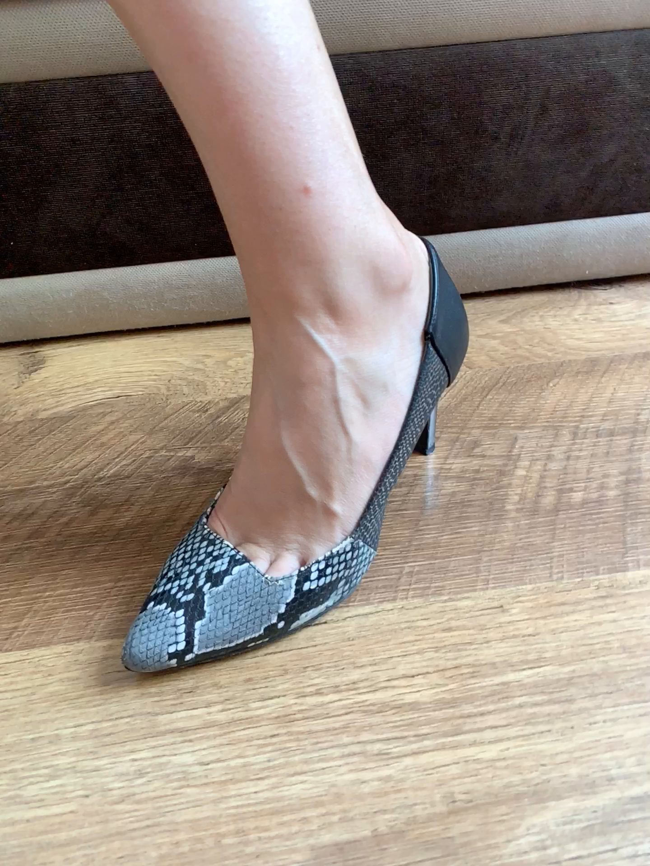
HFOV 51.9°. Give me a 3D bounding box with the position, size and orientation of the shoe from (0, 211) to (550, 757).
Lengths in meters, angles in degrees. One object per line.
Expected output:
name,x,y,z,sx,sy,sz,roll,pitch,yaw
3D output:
shoe,-0.008,-0.001,0.309,0.090,0.109,0.250,28,49,34
